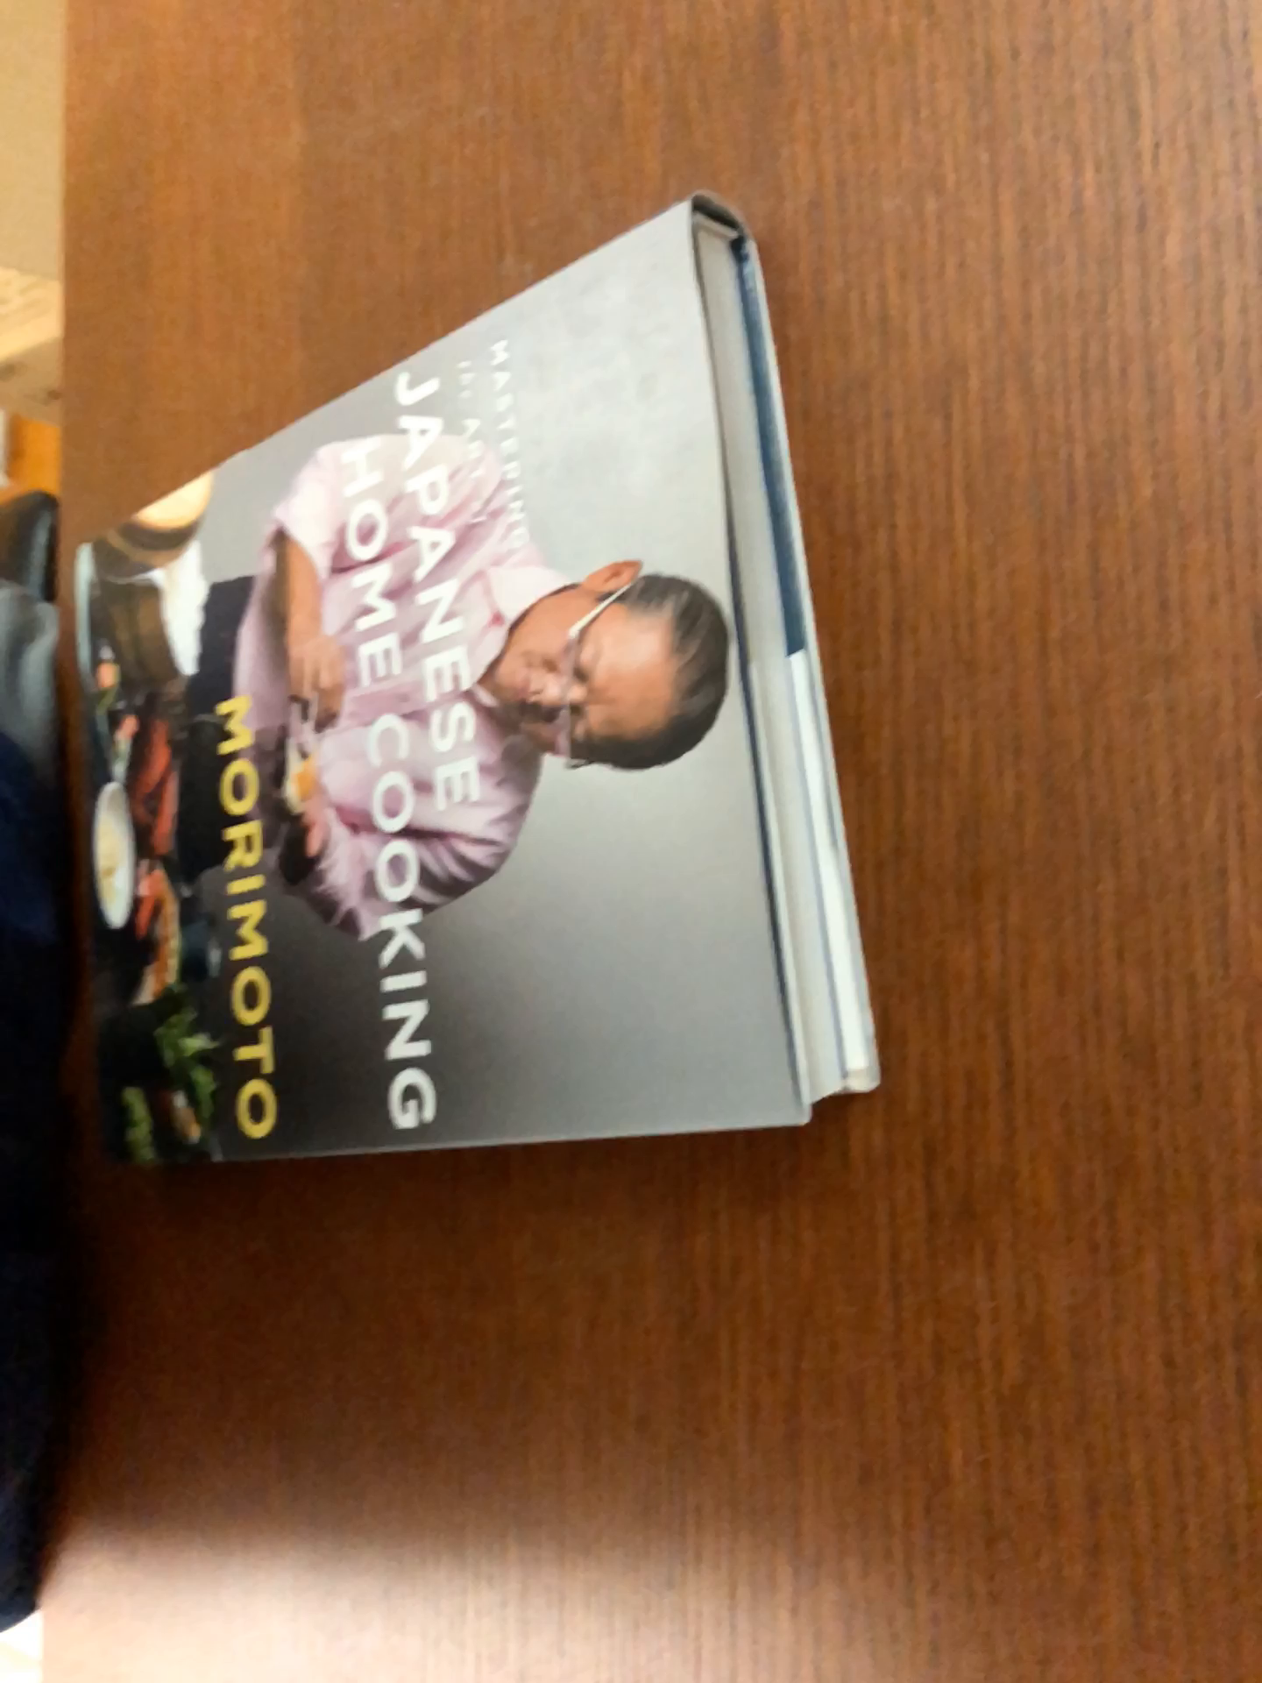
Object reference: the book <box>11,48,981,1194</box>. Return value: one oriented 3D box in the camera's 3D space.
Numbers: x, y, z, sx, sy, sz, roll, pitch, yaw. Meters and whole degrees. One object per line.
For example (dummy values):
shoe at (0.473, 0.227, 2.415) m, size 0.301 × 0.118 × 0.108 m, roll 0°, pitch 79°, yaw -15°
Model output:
book at (-0.069, -0.025, 0.369) m, size 0.301 × 0.030 × 0.220 m, roll -13°, pitch 79°, yaw 38°
